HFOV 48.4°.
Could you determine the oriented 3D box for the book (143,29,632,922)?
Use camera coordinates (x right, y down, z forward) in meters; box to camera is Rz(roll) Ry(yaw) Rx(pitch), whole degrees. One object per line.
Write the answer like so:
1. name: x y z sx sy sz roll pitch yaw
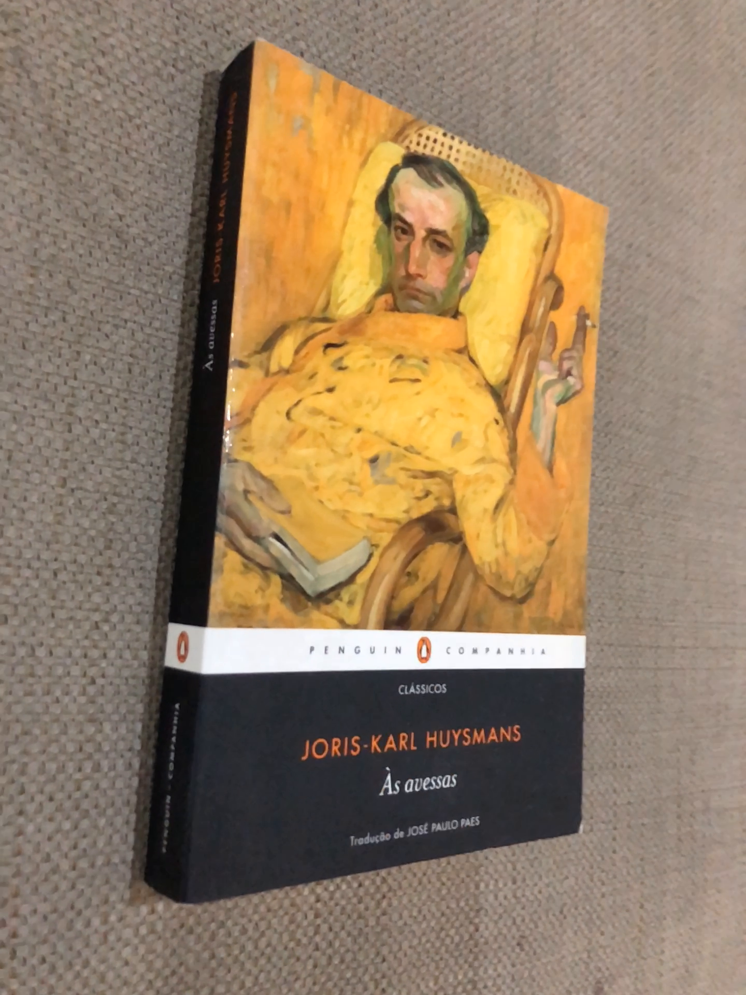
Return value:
1. book: 0.015 -0.002 0.226 0.131 0.023 0.195 9 83 -35
